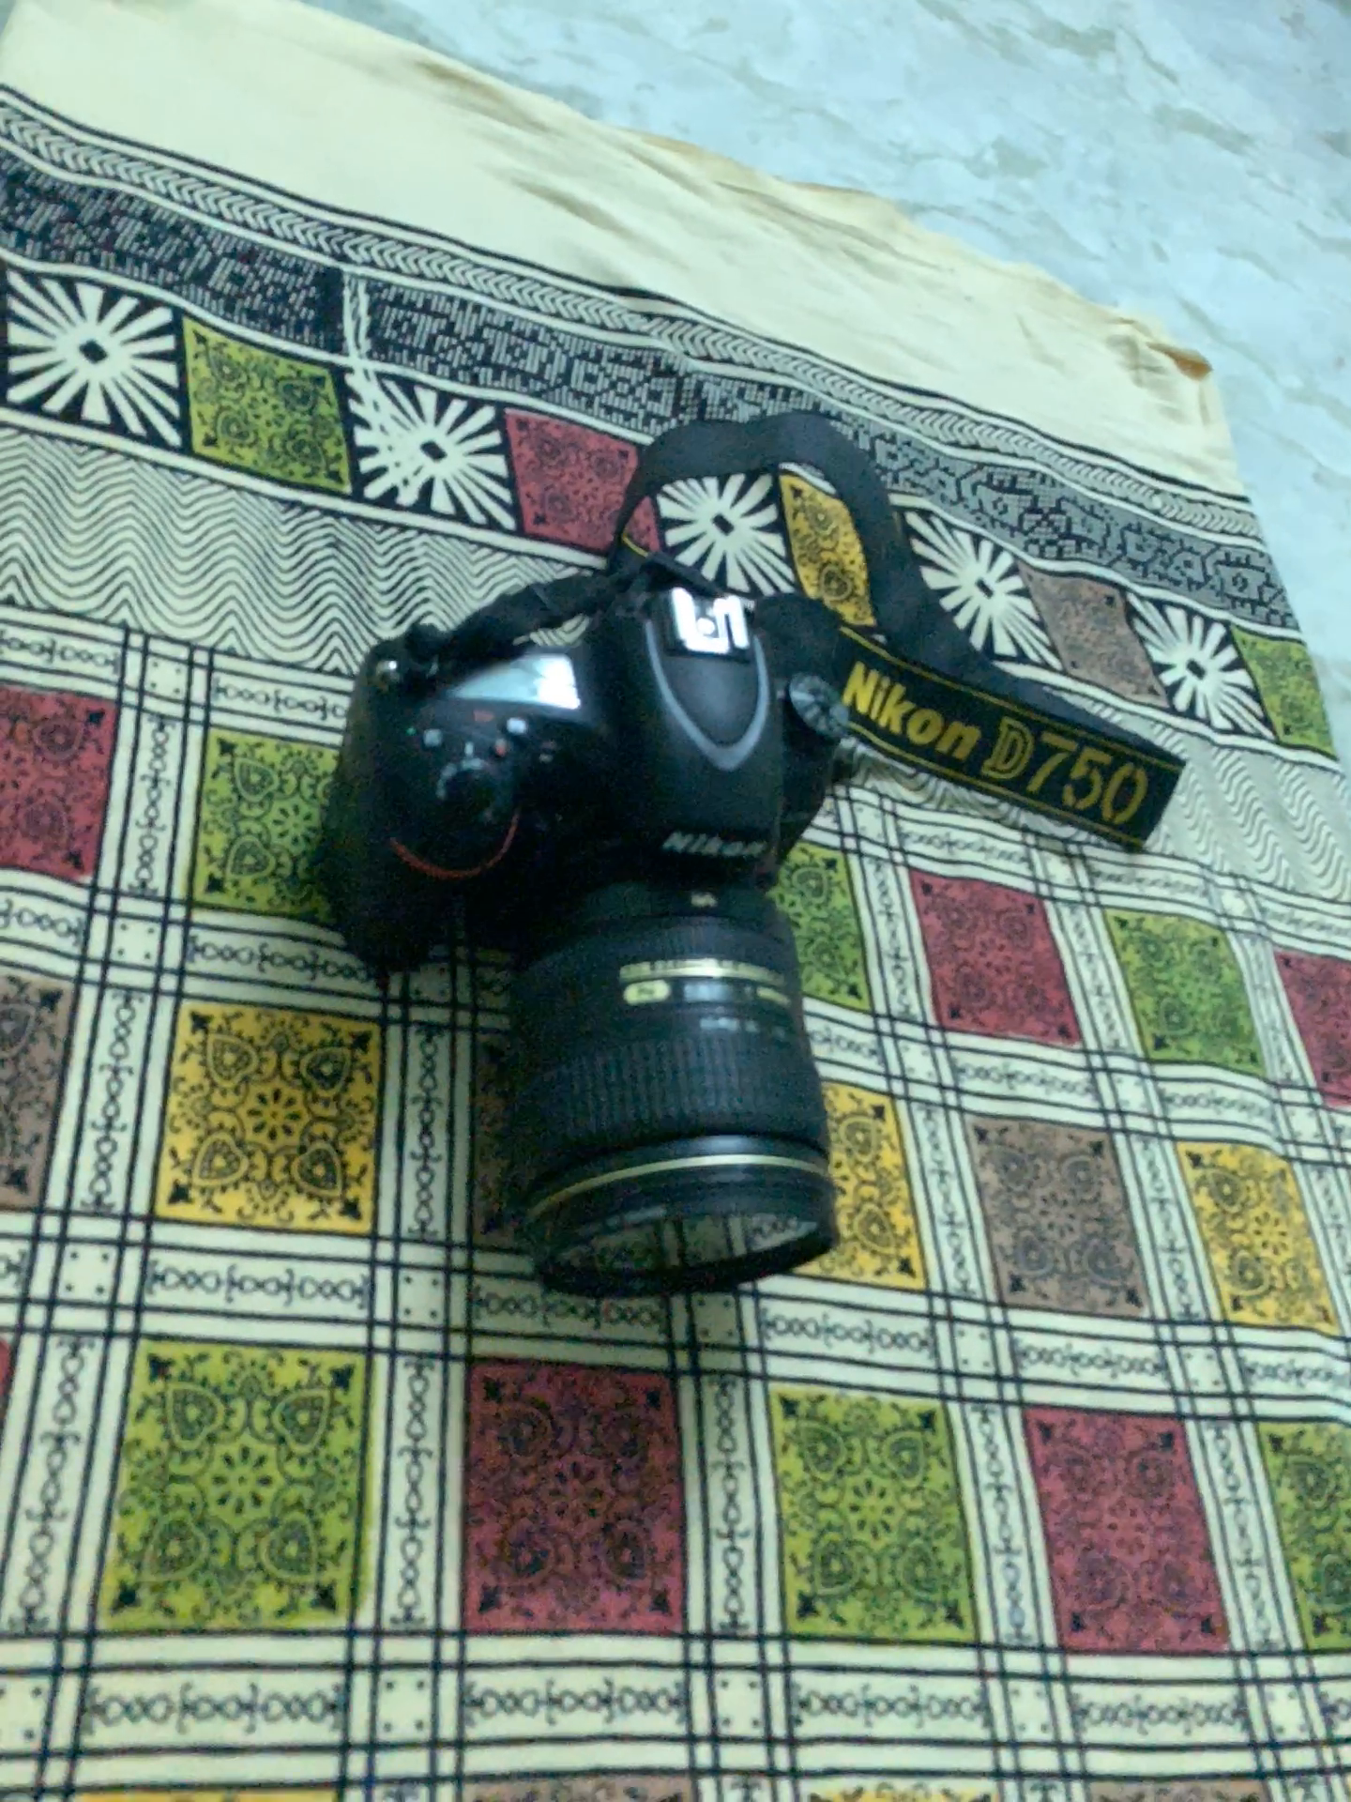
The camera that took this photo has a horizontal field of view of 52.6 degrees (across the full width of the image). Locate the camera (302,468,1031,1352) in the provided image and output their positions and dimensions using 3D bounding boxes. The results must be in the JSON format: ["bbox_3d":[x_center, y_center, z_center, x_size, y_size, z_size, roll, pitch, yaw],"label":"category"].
[{"bbox_3d":[-0.018,0.003,0.357,0.140,0.100,0.190,3,58,-22],"label":"camera"}]
